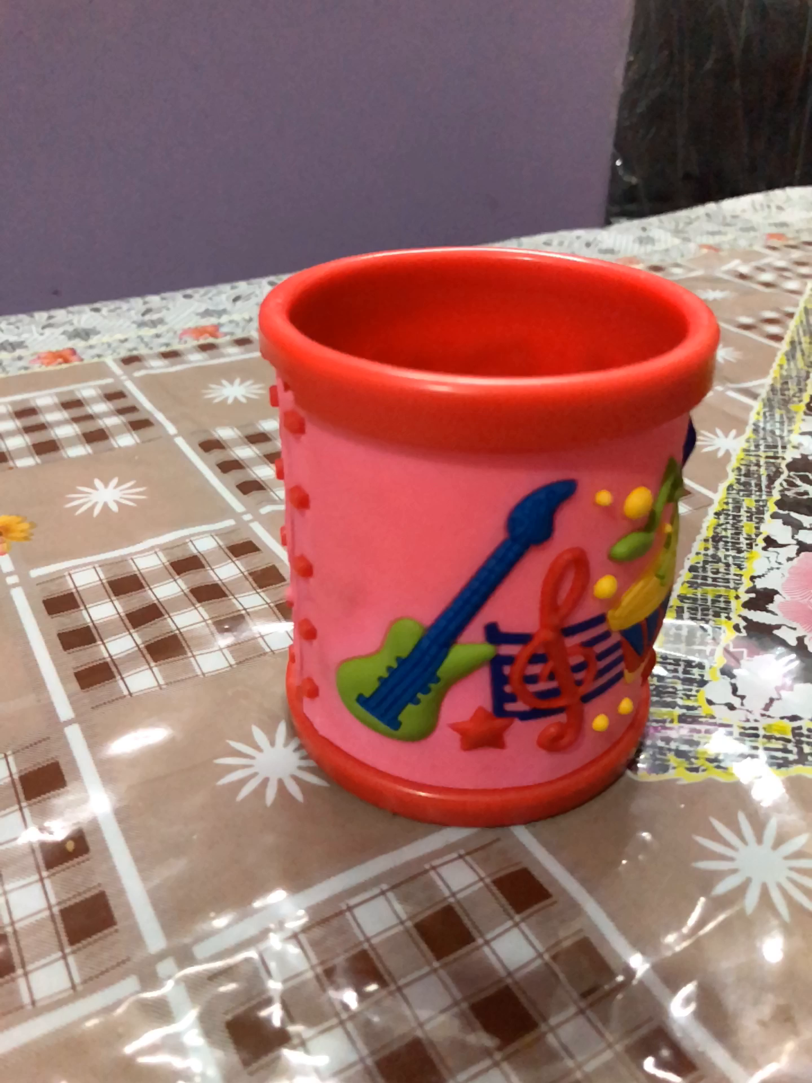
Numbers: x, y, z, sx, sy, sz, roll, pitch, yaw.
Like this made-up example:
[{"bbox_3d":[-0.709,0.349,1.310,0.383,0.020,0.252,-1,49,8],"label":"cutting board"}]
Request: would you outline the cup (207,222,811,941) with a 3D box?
[{"bbox_3d":[0.020,-0.001,0.183,0.080,0.099,0.080,1,31,0],"label":"cup"}]
